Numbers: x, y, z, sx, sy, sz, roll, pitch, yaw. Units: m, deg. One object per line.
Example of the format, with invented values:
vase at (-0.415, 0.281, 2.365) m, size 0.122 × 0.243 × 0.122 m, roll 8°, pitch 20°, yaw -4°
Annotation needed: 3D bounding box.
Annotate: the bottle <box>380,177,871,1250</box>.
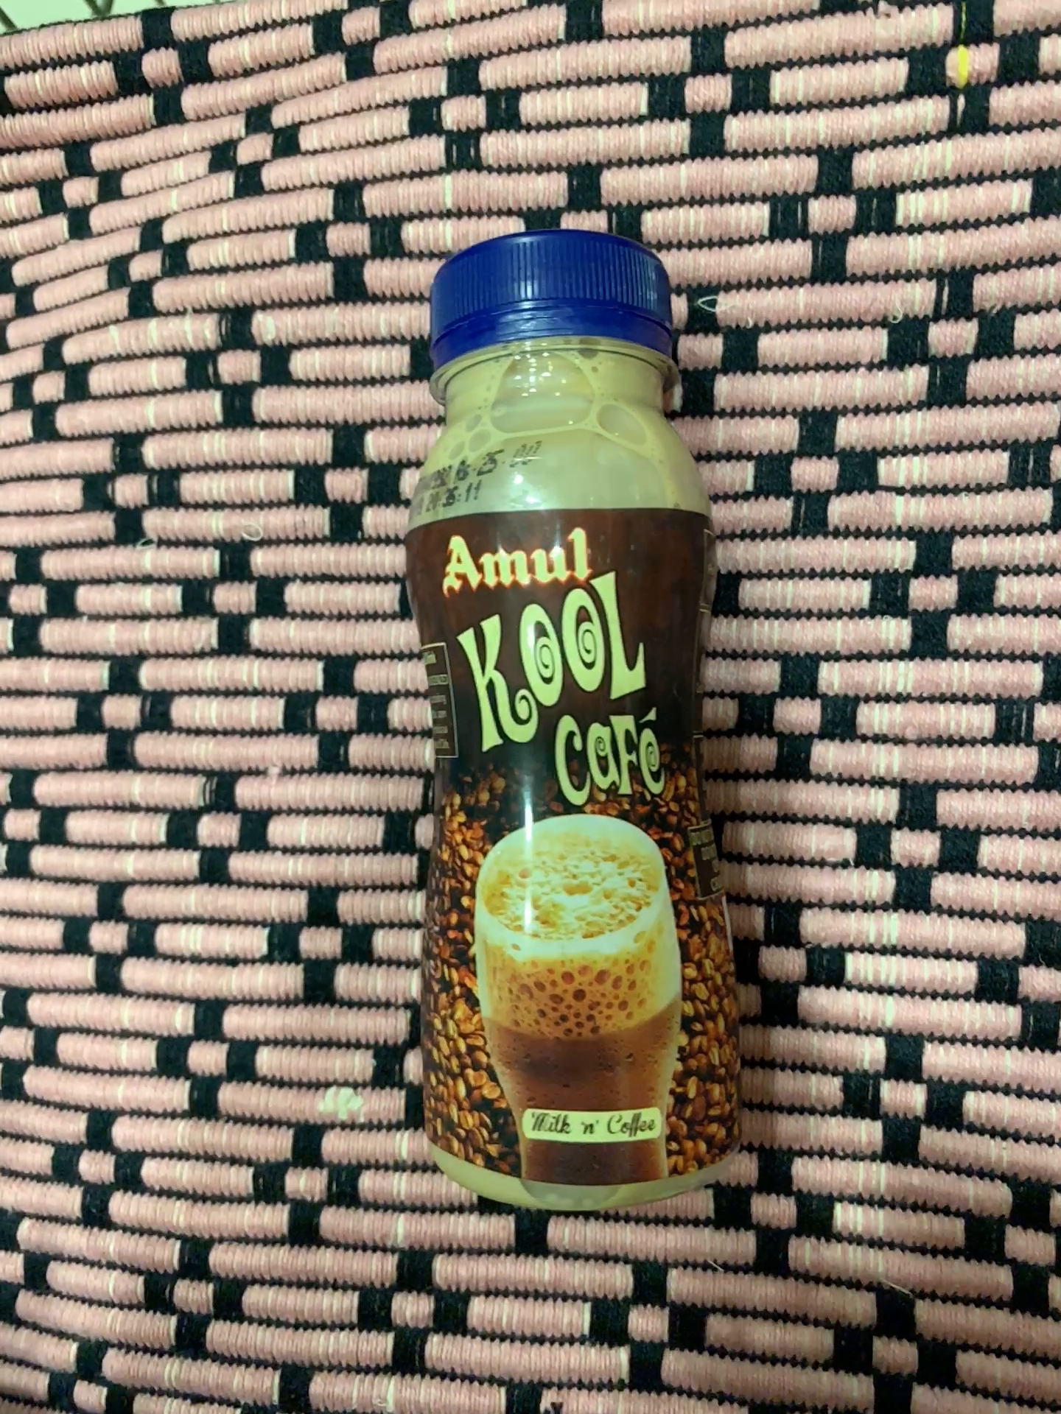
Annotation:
bottle at (0.013, 0.001, 0.172) m, size 0.060 × 0.050 × 0.140 m, roll -2°, pitch 84°, yaw 7°
